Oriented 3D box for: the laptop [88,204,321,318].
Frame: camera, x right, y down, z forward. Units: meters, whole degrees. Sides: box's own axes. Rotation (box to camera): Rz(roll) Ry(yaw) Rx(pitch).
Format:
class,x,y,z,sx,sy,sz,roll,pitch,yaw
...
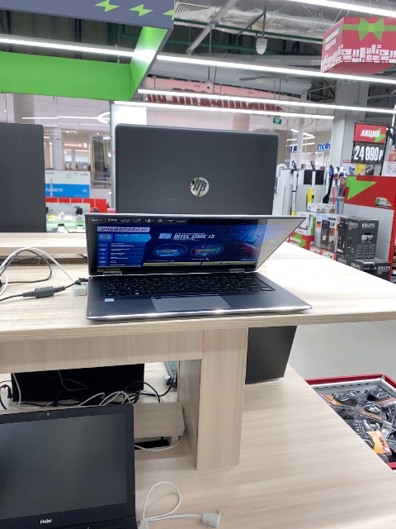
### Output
class,x,y,z,sx,sy,sz,roll,pitch,yaw
laptop,-0.009,-0.020,0.652,0.320,0.128,0.217,-1,13,-14
